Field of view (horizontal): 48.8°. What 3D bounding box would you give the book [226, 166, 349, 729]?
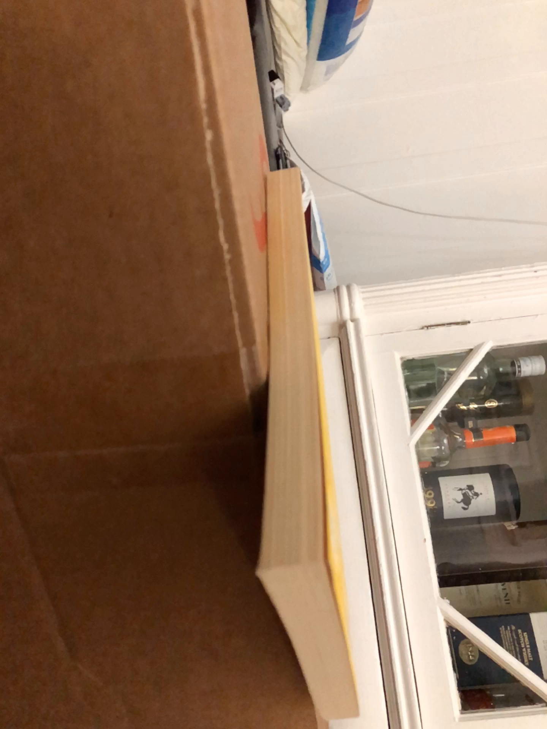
[{"bbox_3d":[0.009,0.036,0.260,0.150,0.020,0.210,79,7,-45],"label":"book"}]
